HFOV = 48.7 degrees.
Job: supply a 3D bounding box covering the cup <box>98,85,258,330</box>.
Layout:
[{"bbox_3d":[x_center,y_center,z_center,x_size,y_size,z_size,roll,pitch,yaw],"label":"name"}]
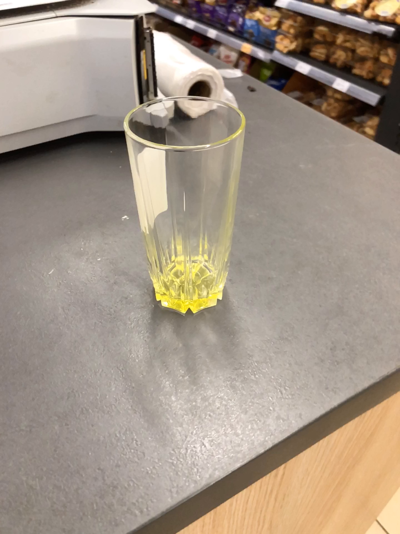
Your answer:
[{"bbox_3d":[-0.009,-0.037,0.296,0.070,0.134,0.075,0,42,0],"label":"cup"}]
